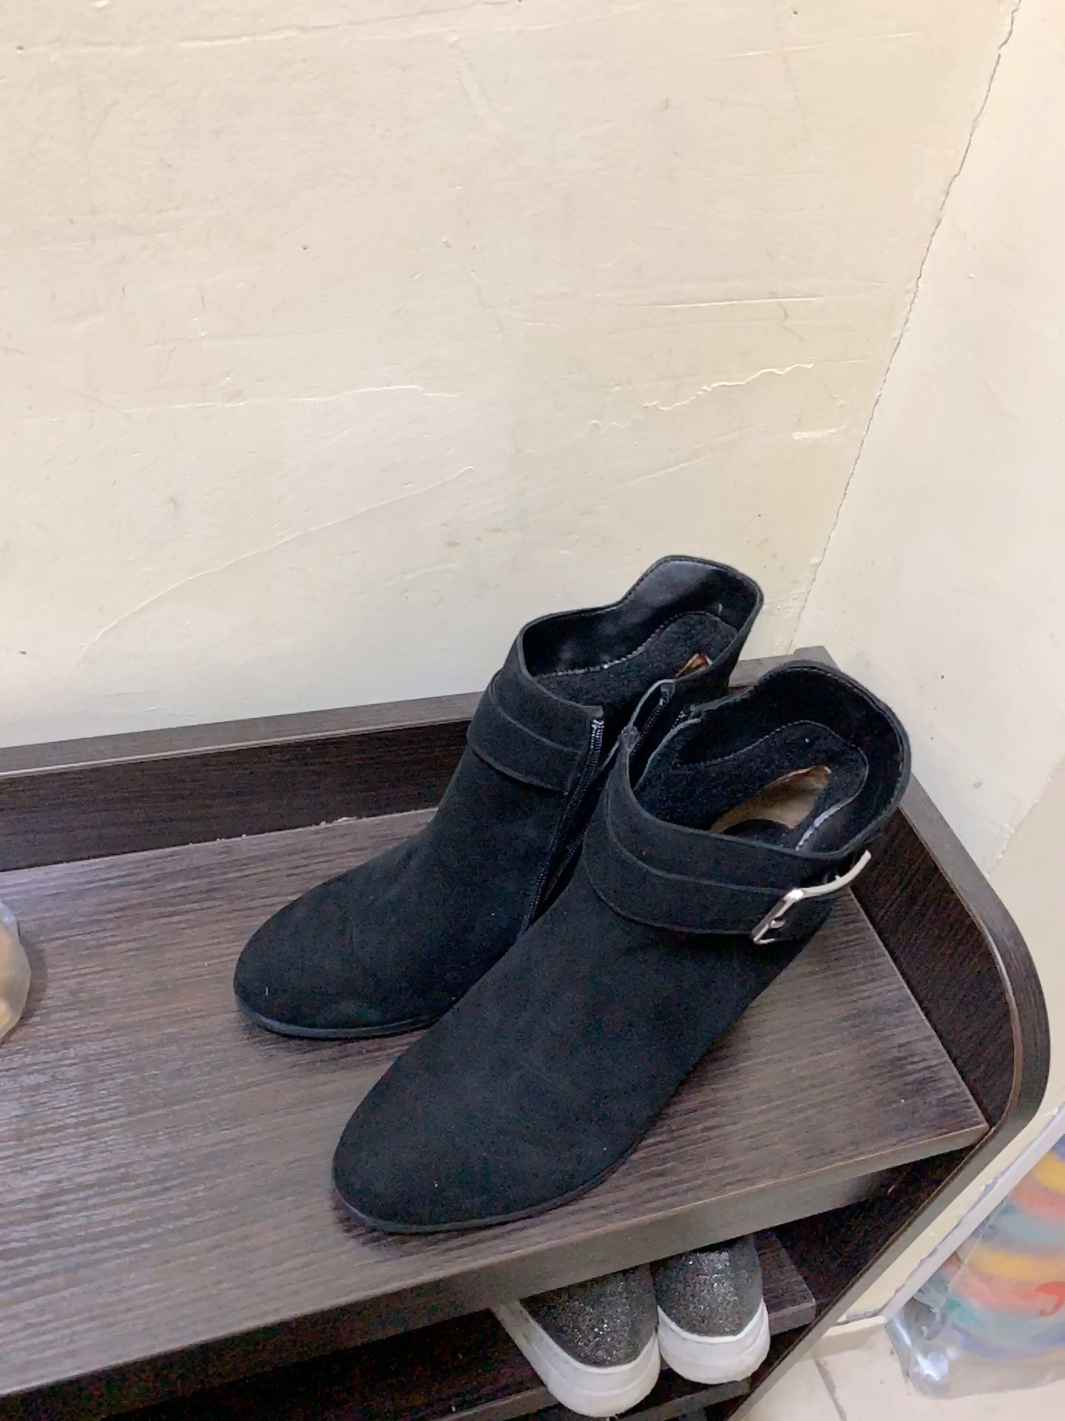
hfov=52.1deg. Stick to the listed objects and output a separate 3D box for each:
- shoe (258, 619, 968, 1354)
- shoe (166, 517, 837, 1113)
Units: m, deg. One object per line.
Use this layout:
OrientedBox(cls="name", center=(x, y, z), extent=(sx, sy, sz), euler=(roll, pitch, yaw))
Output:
OrientedBox(cls="shoe", center=(0.028, 0.100, 0.425), extent=(0.241, 0.189, 0.088), euler=(-24, 52, -32))
OrientedBox(cls="shoe", center=(-0.016, 0.041, 0.473), extent=(0.240, 0.189, 0.088), euler=(-16, 48, -26))
